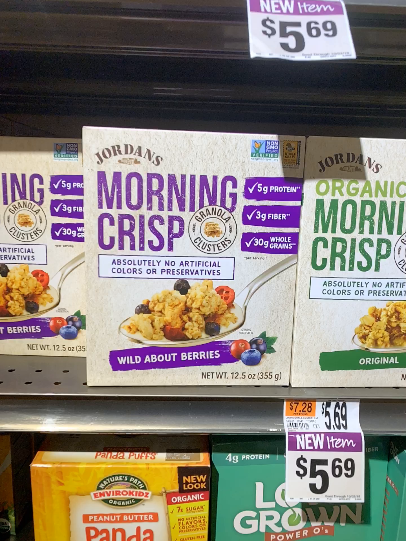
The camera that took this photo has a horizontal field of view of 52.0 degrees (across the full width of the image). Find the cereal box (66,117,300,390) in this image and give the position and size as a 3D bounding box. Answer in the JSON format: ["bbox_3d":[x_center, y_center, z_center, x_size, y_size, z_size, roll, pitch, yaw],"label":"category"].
[{"bbox_3d":[-0.018,-0.012,0.367,0.180,0.219,0.060,1,10,-4],"label":"cereal box"}]
